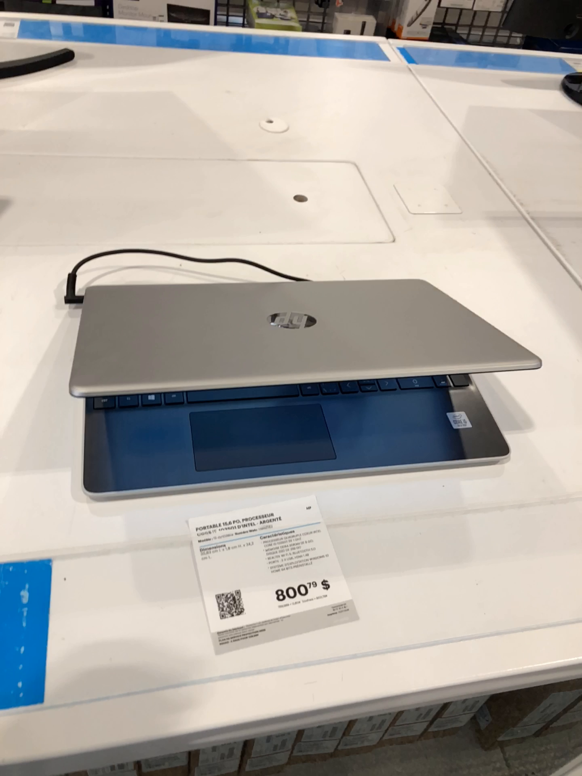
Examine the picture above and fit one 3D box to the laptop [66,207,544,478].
[{"bbox_3d":[-0.005,-0.056,0.554,0.341,0.086,0.229,-4,47,-11],"label":"laptop"}]
